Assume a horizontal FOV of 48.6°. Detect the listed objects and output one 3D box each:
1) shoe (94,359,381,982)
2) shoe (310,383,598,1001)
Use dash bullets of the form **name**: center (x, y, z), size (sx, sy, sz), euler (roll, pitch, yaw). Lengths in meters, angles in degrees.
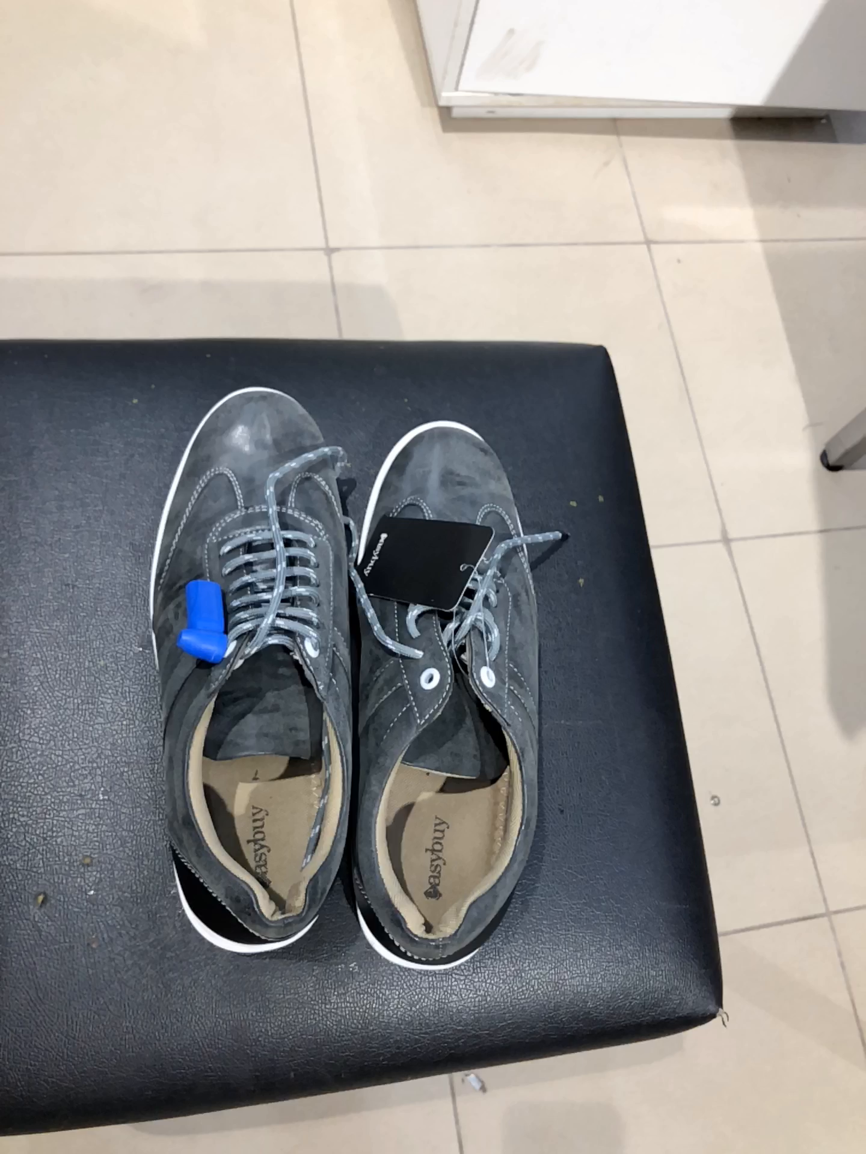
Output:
- **shoe**: center (-0.084, 0.041, 0.433), size (0.100, 0.107, 0.249), euler (0, 71, -11)
- **shoe**: center (0.010, 0.053, 0.443), size (0.100, 0.107, 0.249), euler (7, 70, -8)
